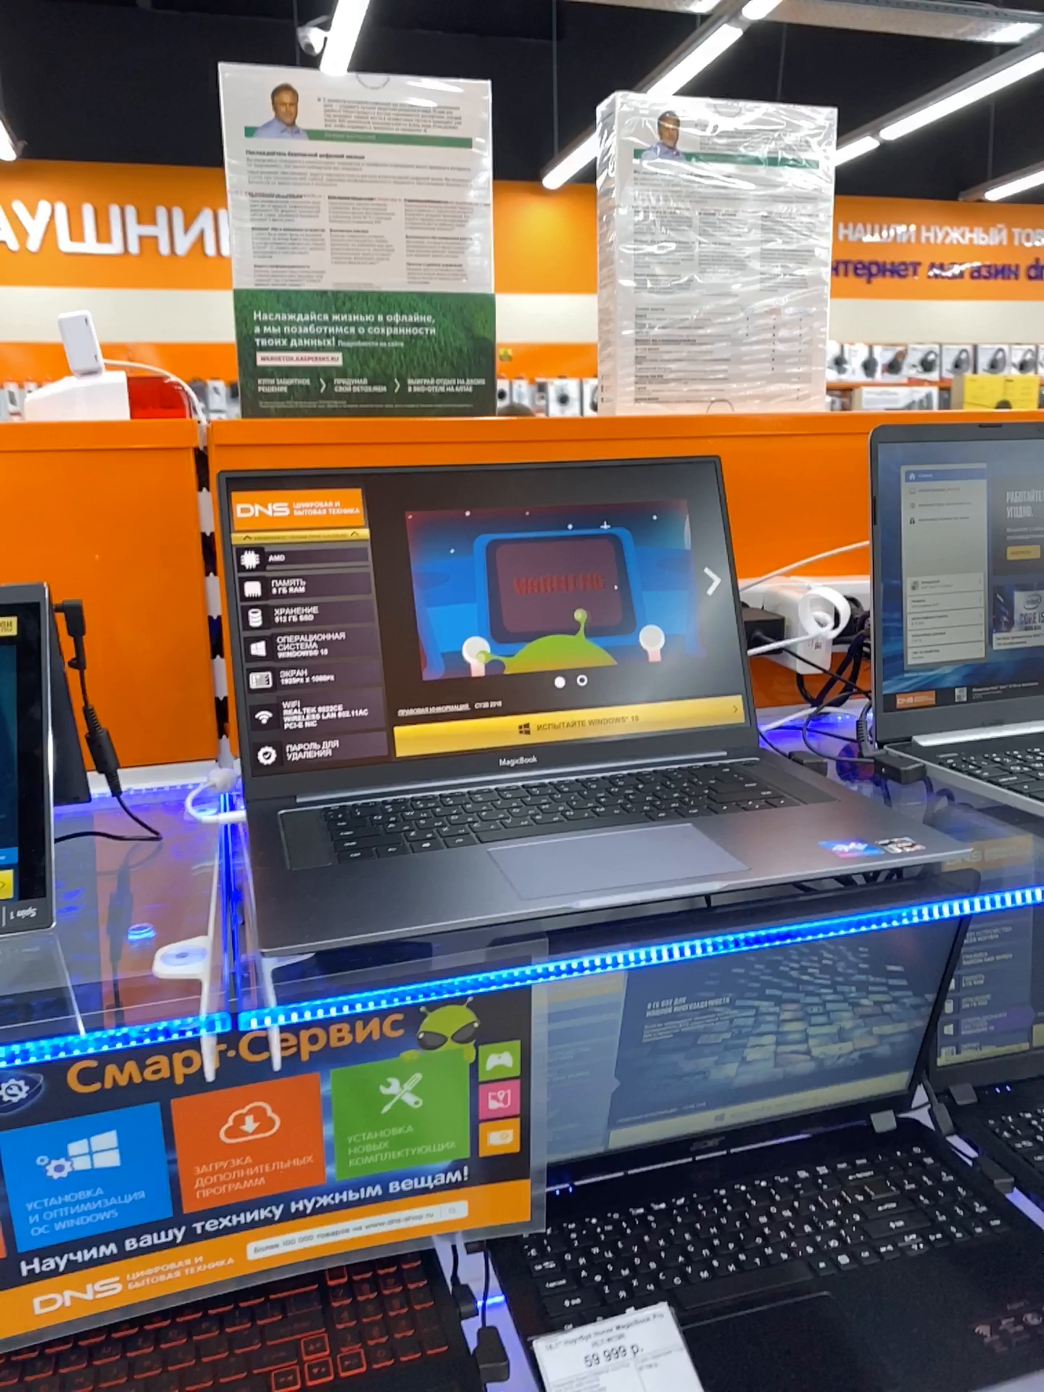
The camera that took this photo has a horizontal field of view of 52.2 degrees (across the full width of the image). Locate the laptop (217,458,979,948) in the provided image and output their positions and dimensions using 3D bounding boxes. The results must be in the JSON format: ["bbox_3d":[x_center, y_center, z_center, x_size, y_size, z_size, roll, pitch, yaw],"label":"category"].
[{"bbox_3d":[0.012,-0.036,0.652,0.368,0.207,0.315,-4,12,-15],"label":"laptop"}]
